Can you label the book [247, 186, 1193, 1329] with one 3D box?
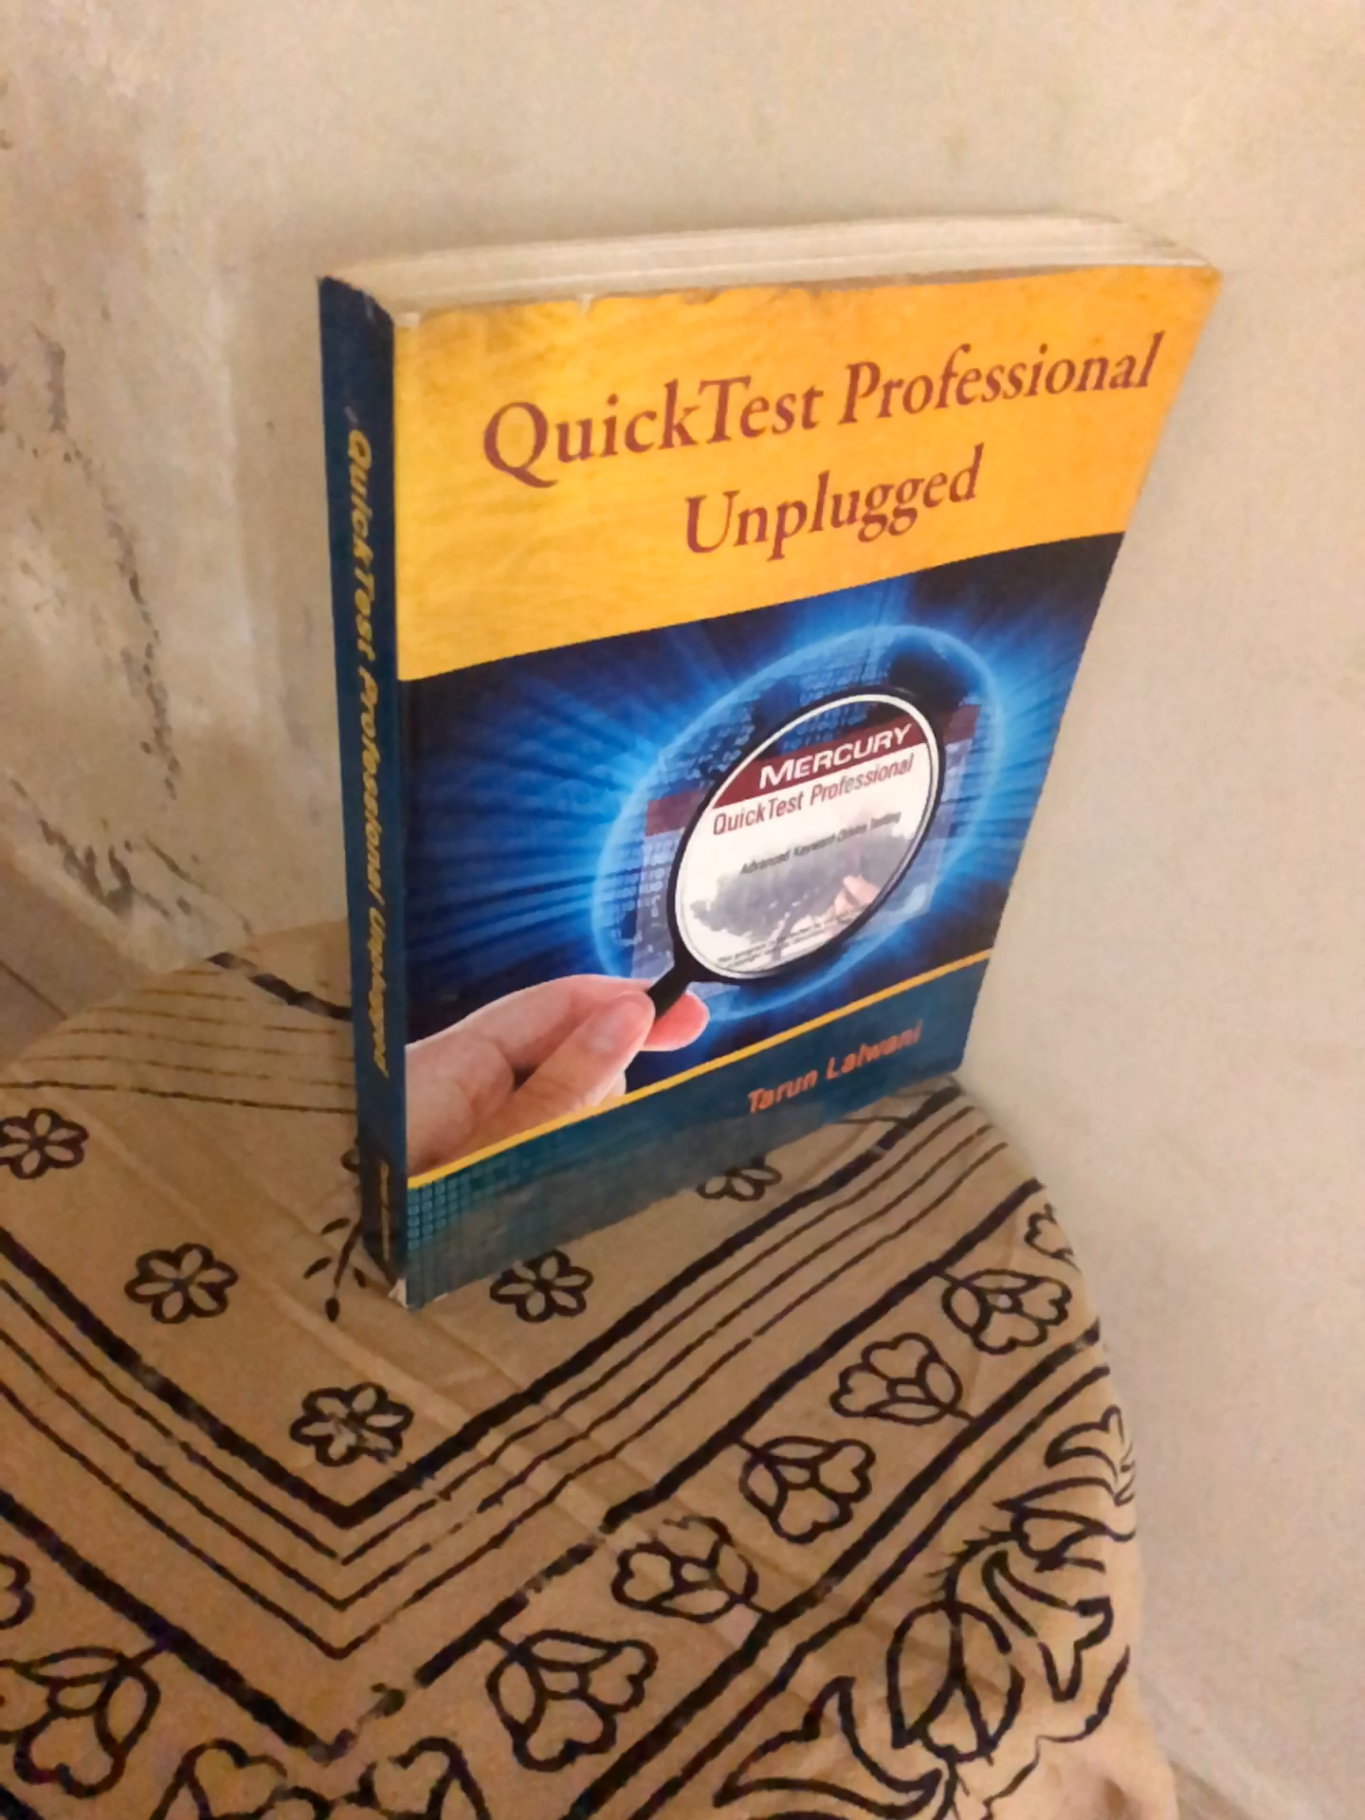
[{"bbox_3d":[0.004,-0.037,0.396,0.211,0.269,0.050,-16,41,-30],"label":"book"}]
